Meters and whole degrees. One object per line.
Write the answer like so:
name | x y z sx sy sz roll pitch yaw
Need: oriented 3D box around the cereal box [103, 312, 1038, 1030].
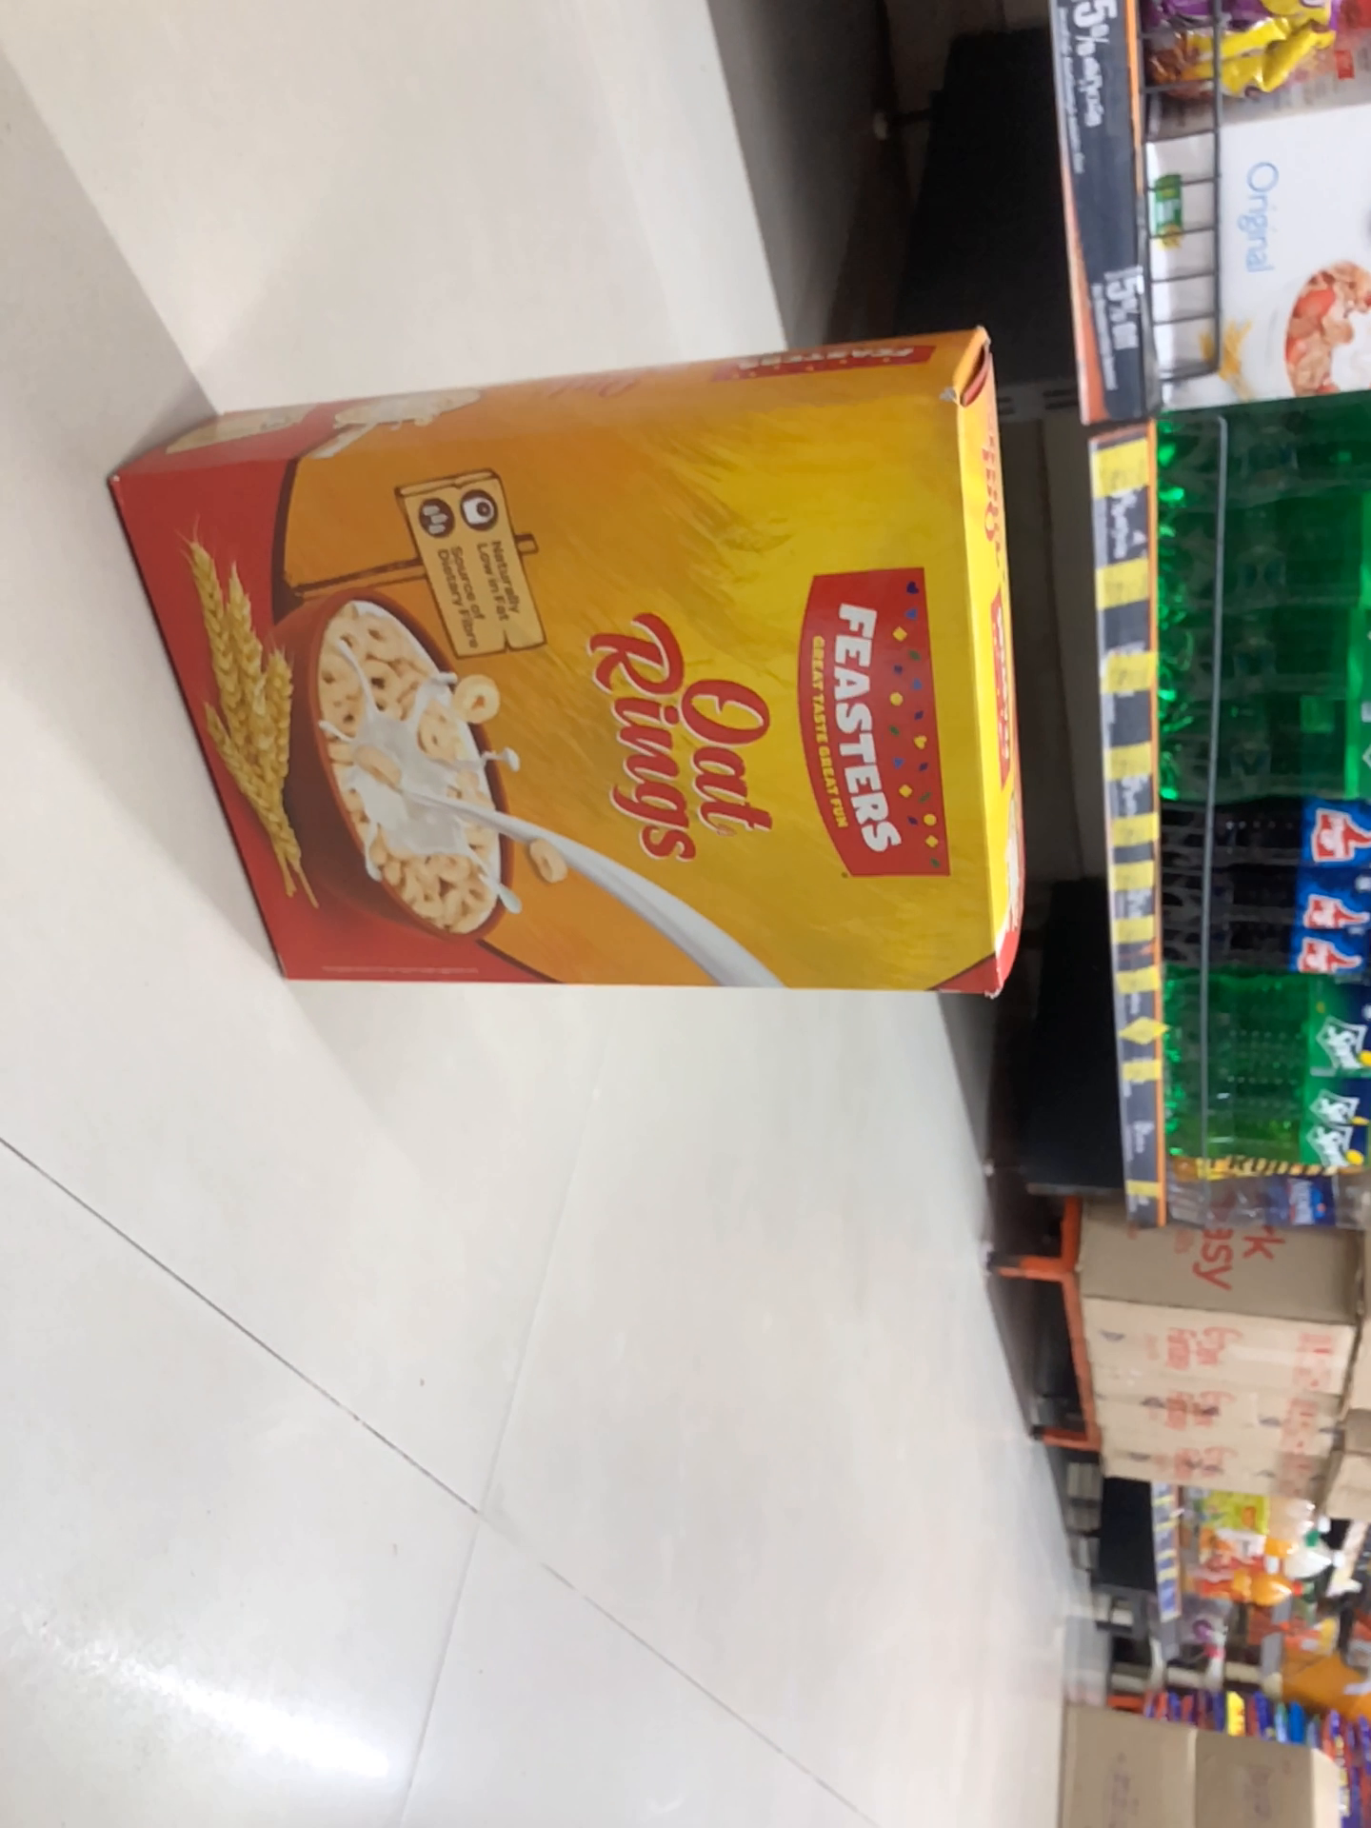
cereal box | -0.020 -0.059 0.424 0.070 0.219 0.170 -64 149 -56
